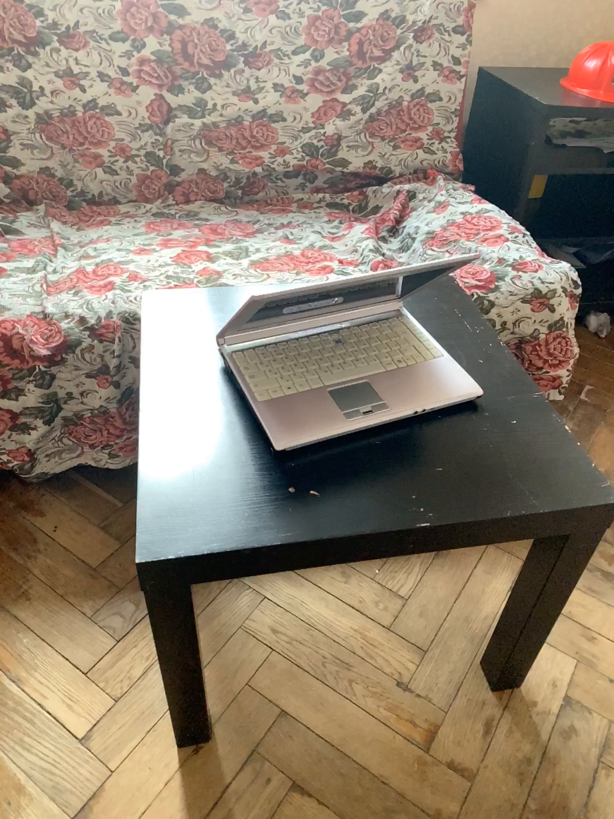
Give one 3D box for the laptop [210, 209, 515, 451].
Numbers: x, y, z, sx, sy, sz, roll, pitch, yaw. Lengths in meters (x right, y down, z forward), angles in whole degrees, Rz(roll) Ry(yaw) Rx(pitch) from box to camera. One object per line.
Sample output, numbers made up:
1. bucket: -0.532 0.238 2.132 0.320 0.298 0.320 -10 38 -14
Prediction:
1. laptop: 0.059 -0.119 0.814 0.305 0.156 0.226 -14 44 -20
